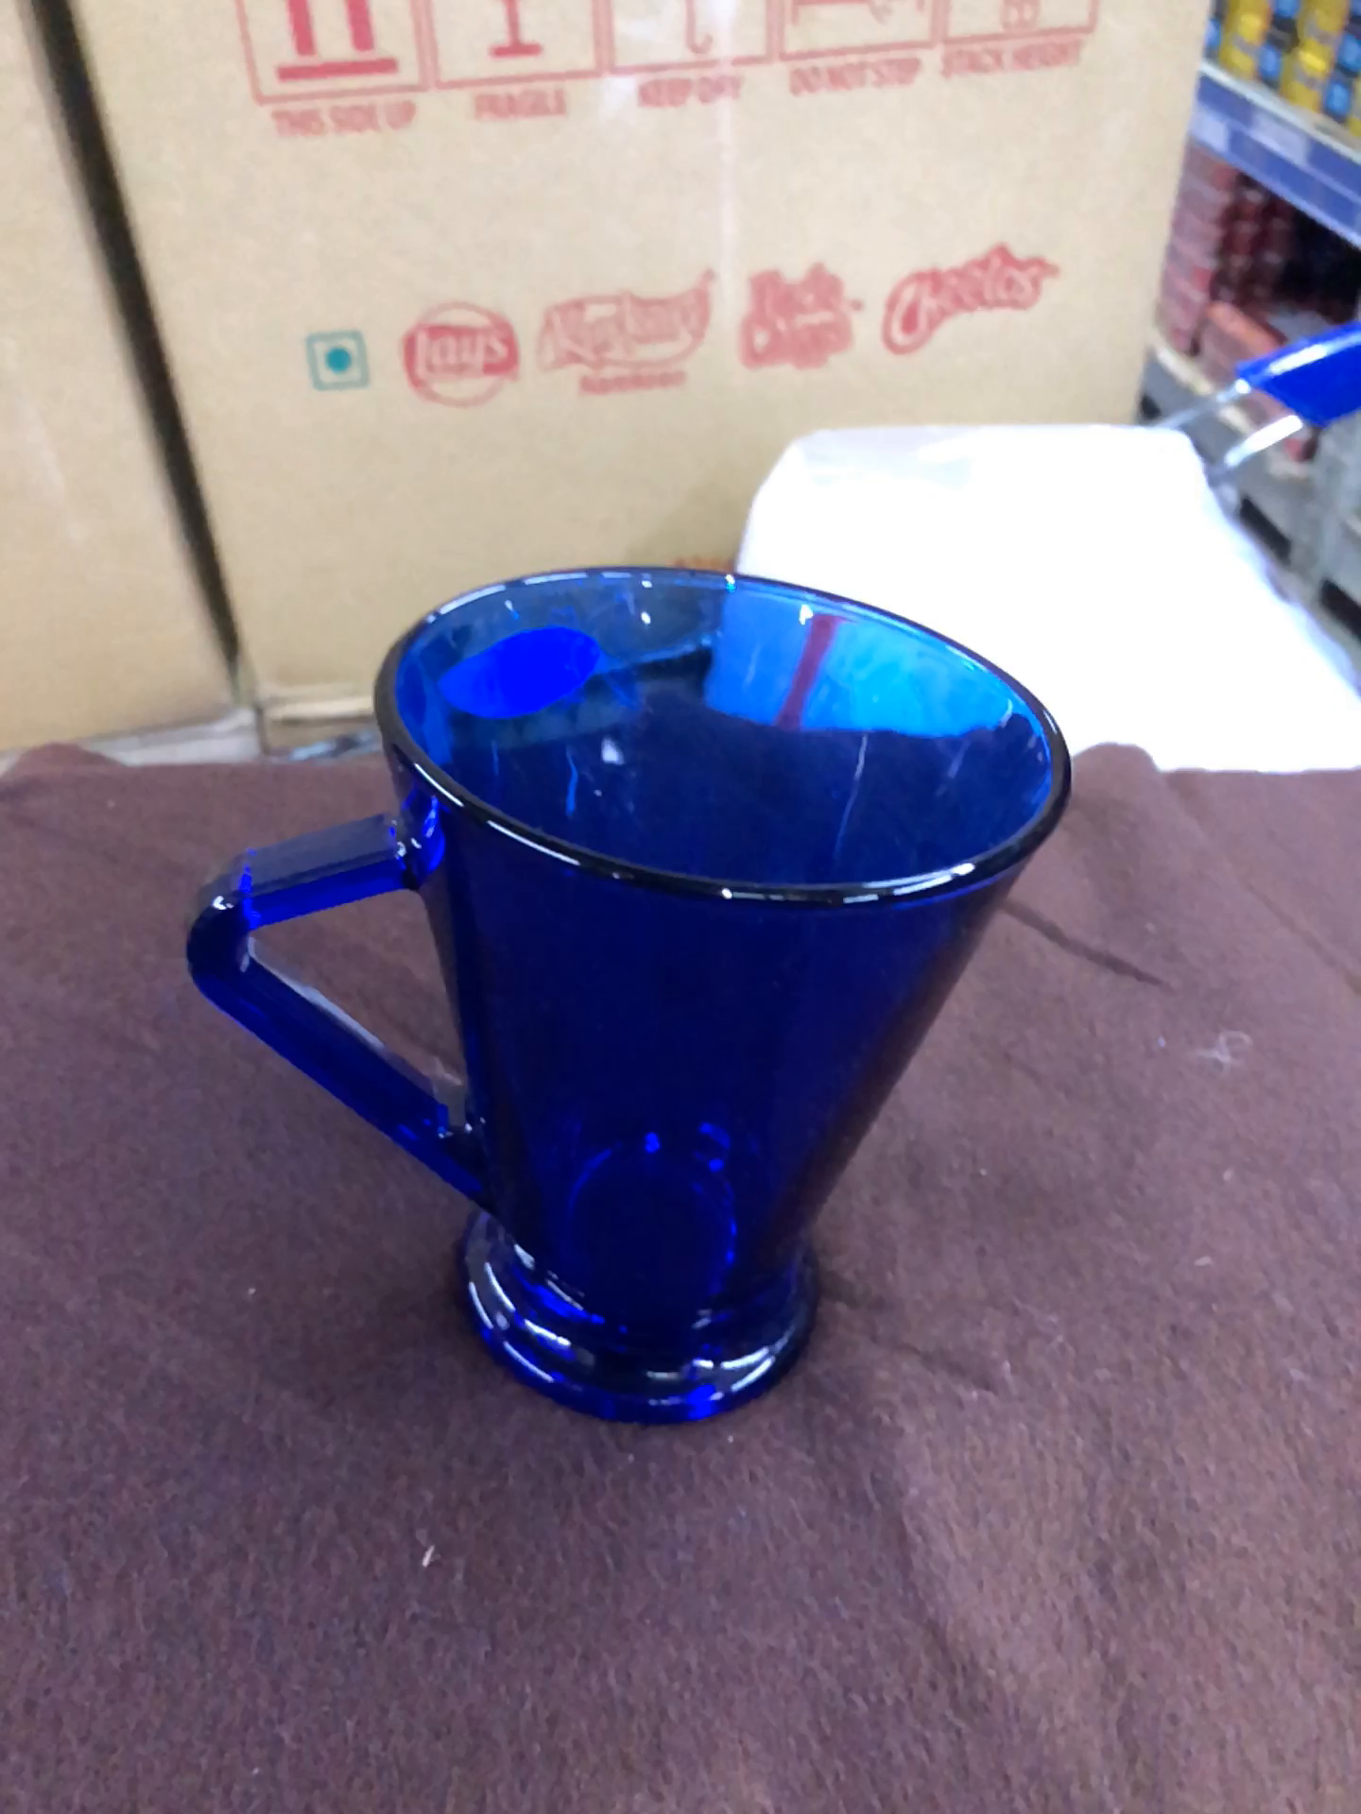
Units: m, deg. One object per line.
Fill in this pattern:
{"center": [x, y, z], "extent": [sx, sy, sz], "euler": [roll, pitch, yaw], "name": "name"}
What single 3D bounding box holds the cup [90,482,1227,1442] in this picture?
{"center": [-0.008, 0.013, 0.209], "extent": [0.110, 0.109, 0.070], "euler": [2, 43, -7], "name": "cup"}
